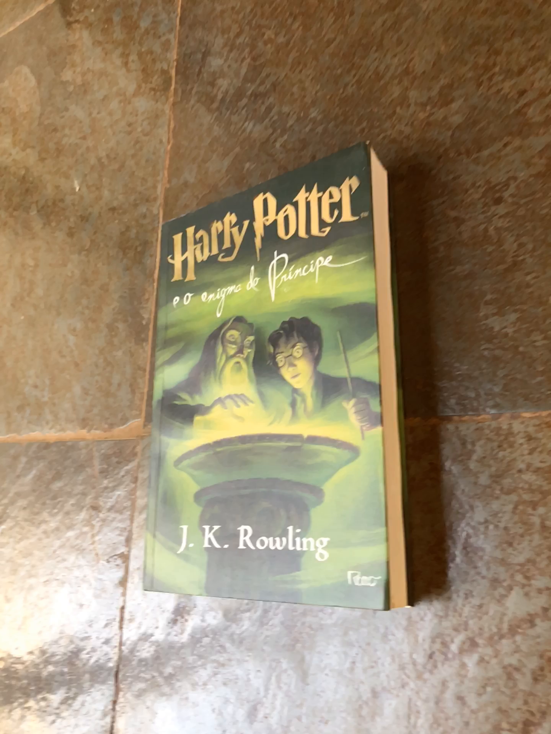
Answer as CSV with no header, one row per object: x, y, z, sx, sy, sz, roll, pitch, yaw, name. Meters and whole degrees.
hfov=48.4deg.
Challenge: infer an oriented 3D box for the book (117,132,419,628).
-0.010,0.008,0.293,0.142,0.030,0.200,-9,73,34,book
